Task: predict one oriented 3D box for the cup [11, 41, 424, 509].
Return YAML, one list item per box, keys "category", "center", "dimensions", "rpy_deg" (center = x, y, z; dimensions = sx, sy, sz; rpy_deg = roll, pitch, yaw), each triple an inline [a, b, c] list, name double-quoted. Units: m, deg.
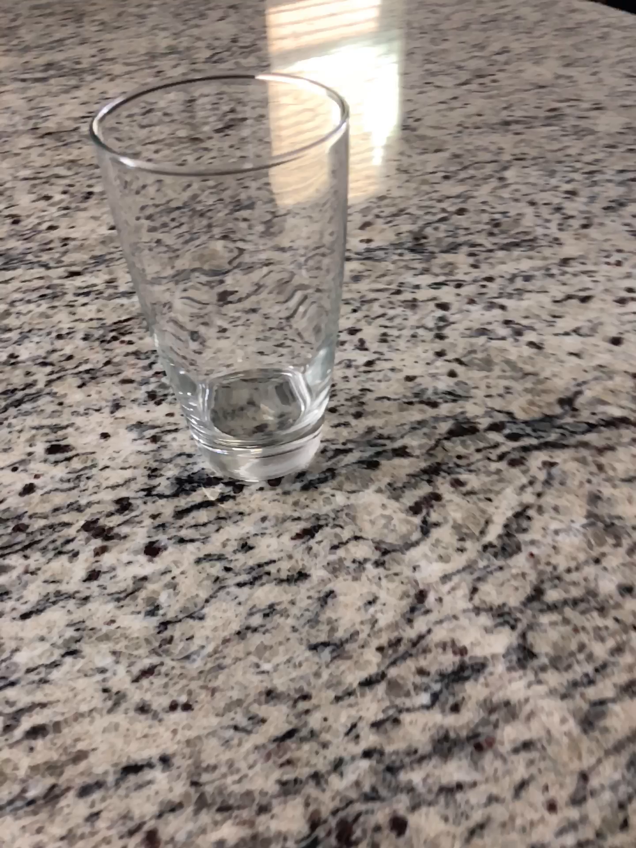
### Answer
- category: "cup"
  center: [-0.022, -0.057, 0.266]
  dimensions: [0.100, 0.129, 0.101]
  rpy_deg: [-1, 43, 1]
